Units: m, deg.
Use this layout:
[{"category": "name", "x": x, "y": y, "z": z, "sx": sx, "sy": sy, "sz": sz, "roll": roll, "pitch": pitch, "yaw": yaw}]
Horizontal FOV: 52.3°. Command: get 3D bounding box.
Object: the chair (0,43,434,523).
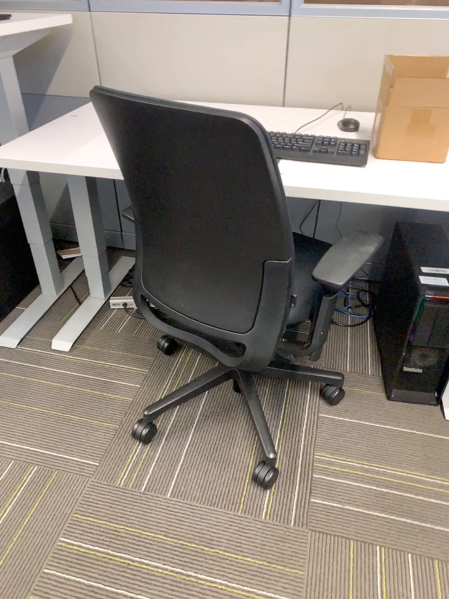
[{"category": "chair", "x": 0.041, "y": -0.117, "z": 1.264, "sx": 0.702, "sy": 0.934, "sz": 0.753, "roll": 16, "pitch": 38, "yaw": 21}]
